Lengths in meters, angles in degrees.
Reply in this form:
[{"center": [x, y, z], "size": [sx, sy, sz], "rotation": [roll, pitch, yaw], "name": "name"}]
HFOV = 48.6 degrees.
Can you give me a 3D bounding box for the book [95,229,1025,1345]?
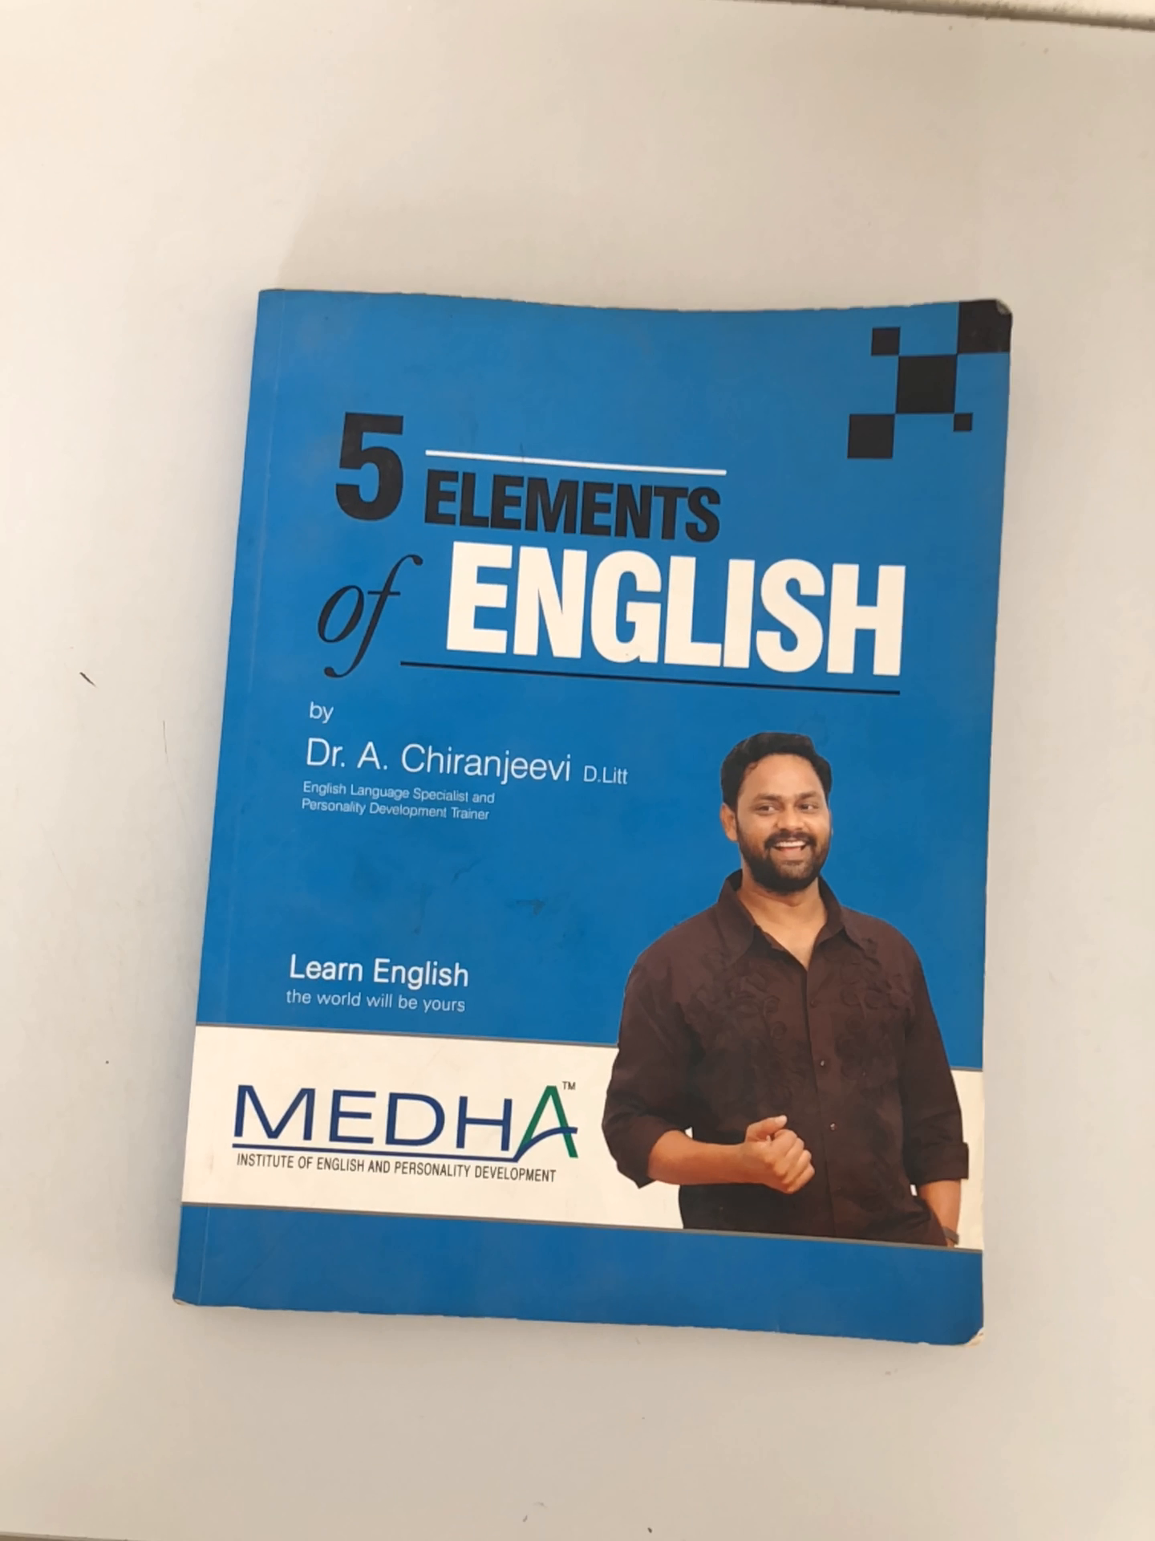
[{"center": [0.001, 0.000, 0.270], "size": [0.180, 0.020, 0.220], "rotation": [2, 84, -1], "name": "book"}]
